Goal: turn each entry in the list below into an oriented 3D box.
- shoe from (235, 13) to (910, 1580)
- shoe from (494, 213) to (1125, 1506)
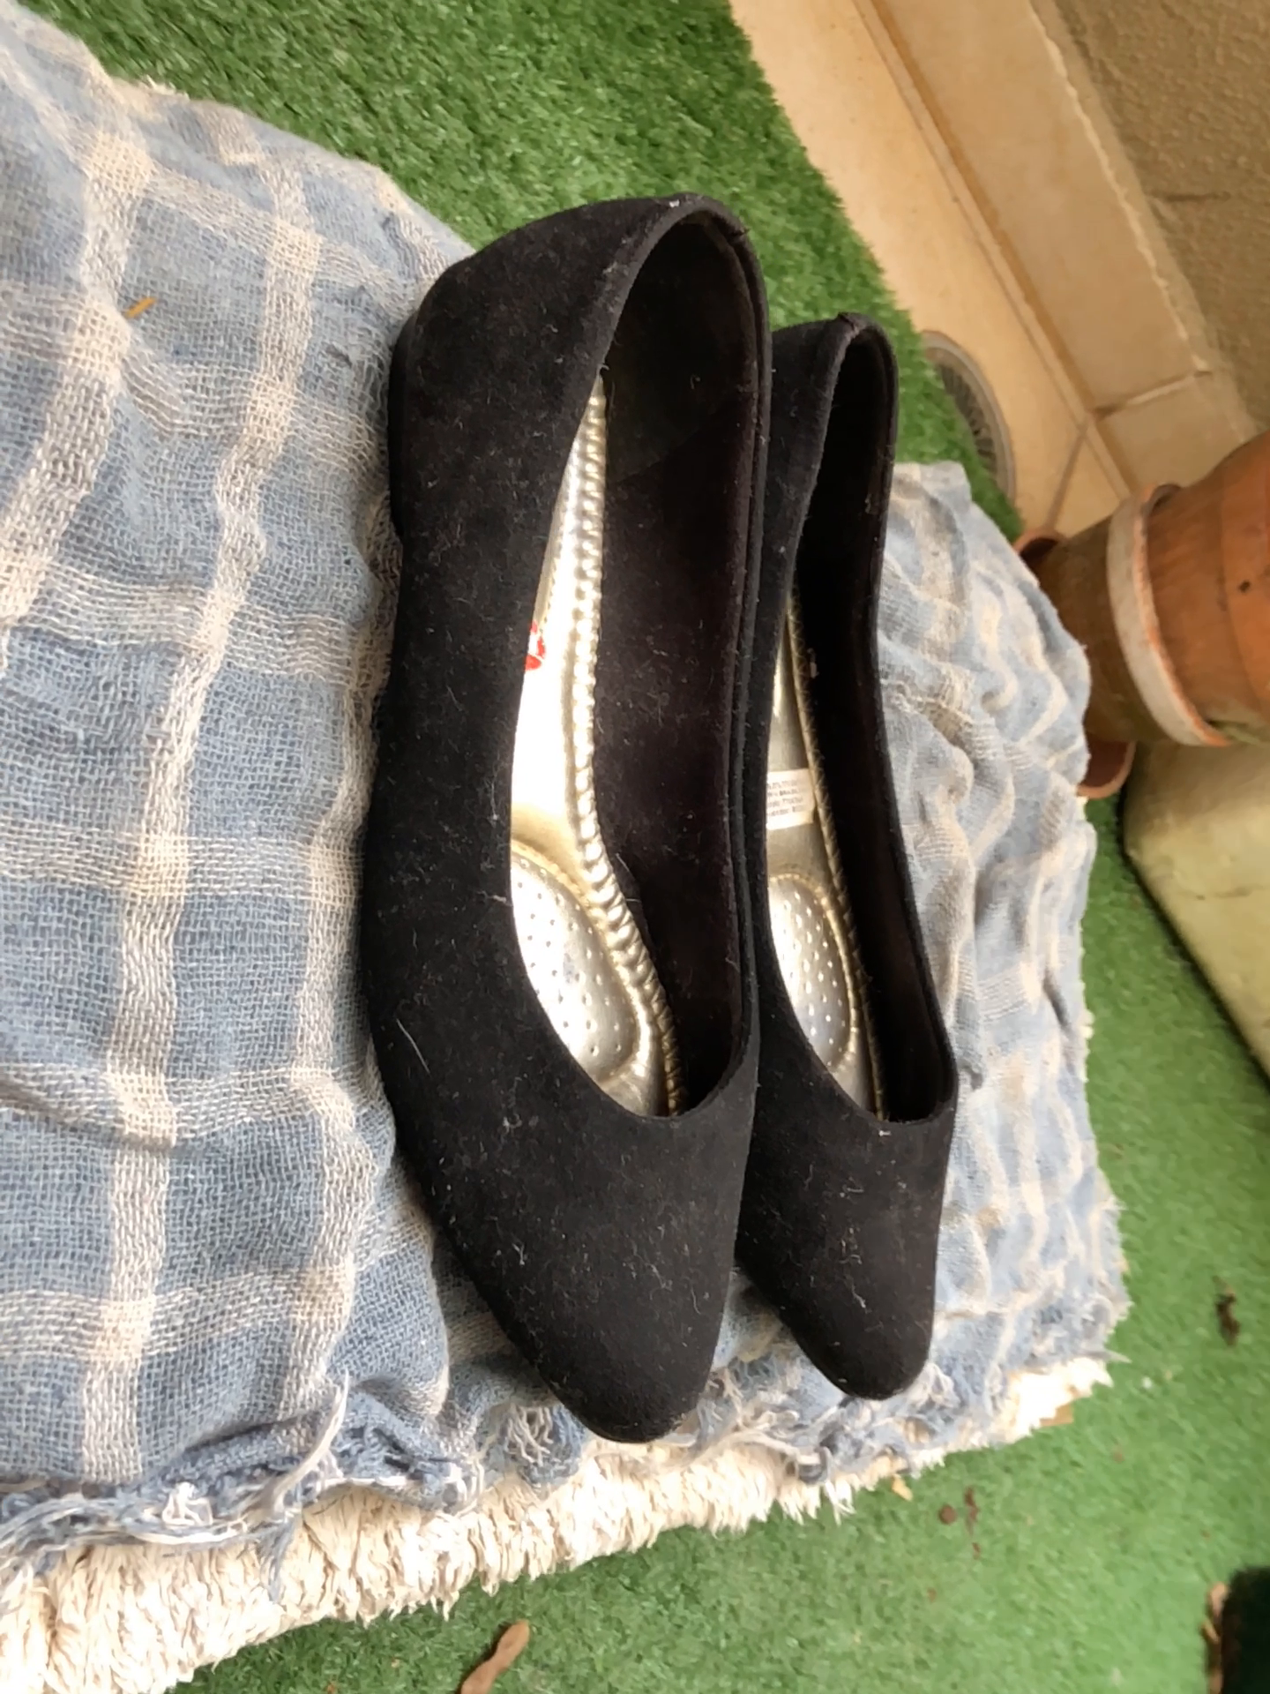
[{"bbox_3d":[-0.015,-0.010,0.299,0.091,0.079,0.270,1,82,-46],"label":"shoe"},{"bbox_3d":[0.043,0.002,0.351,0.091,0.079,0.270,-5,86,-46],"label":"shoe"}]
